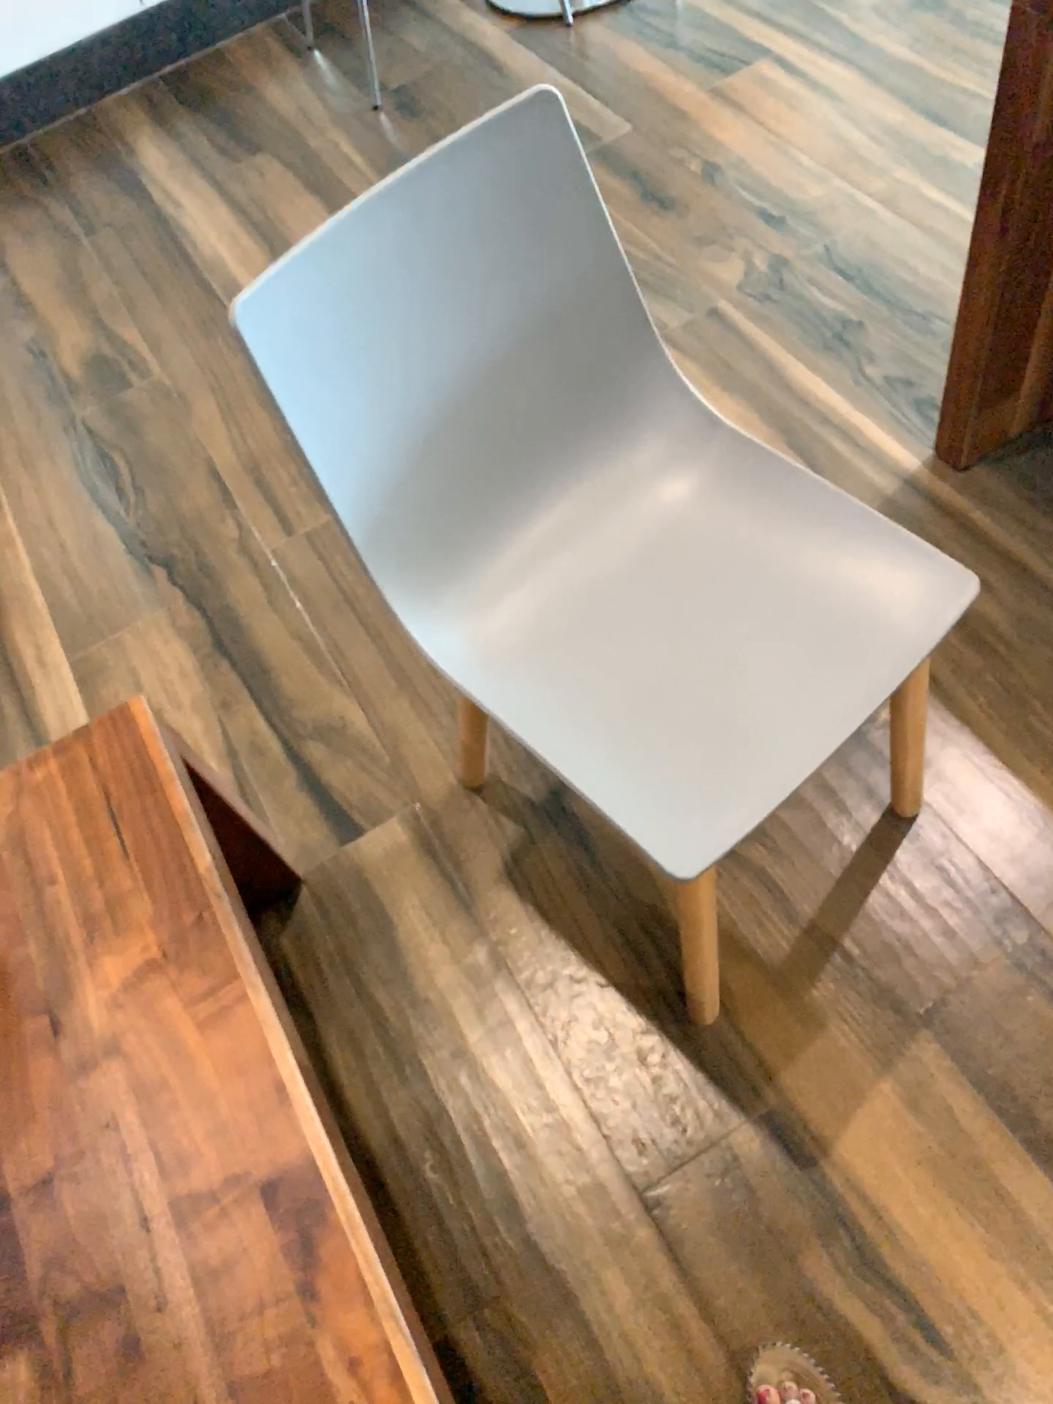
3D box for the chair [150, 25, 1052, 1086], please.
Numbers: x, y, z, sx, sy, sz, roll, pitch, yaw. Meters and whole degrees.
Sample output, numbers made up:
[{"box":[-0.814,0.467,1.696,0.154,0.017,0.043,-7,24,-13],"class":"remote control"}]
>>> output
[{"box":[0.135,-0.099,1.047,0.501,0.696,0.563,-39,58,-13],"class":"chair"}]
